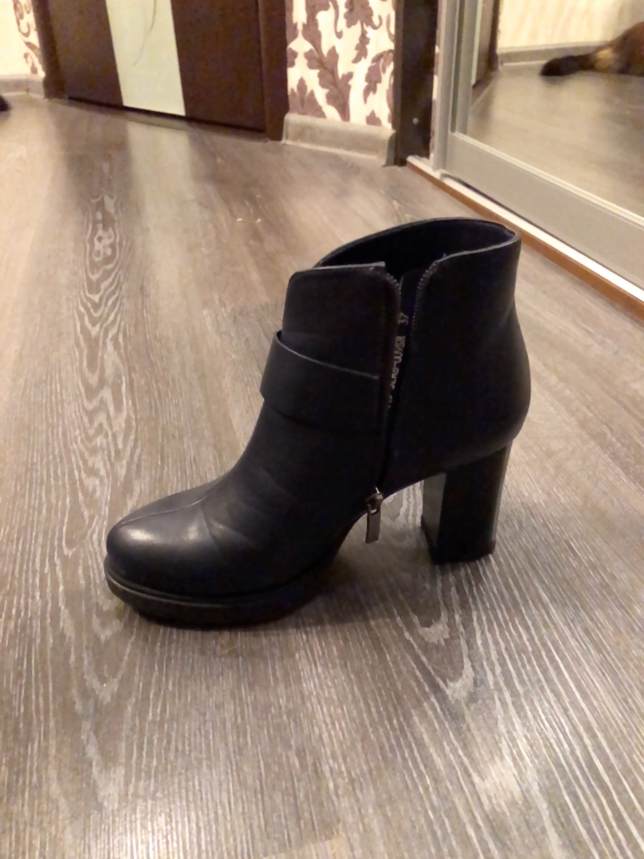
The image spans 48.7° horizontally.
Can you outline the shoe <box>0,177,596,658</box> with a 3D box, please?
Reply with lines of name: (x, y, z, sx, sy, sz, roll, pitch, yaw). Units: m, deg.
shoe: (-0.010, -0.010, 0.362, 0.240, 0.189, 0.091, -9, 33, -11)
